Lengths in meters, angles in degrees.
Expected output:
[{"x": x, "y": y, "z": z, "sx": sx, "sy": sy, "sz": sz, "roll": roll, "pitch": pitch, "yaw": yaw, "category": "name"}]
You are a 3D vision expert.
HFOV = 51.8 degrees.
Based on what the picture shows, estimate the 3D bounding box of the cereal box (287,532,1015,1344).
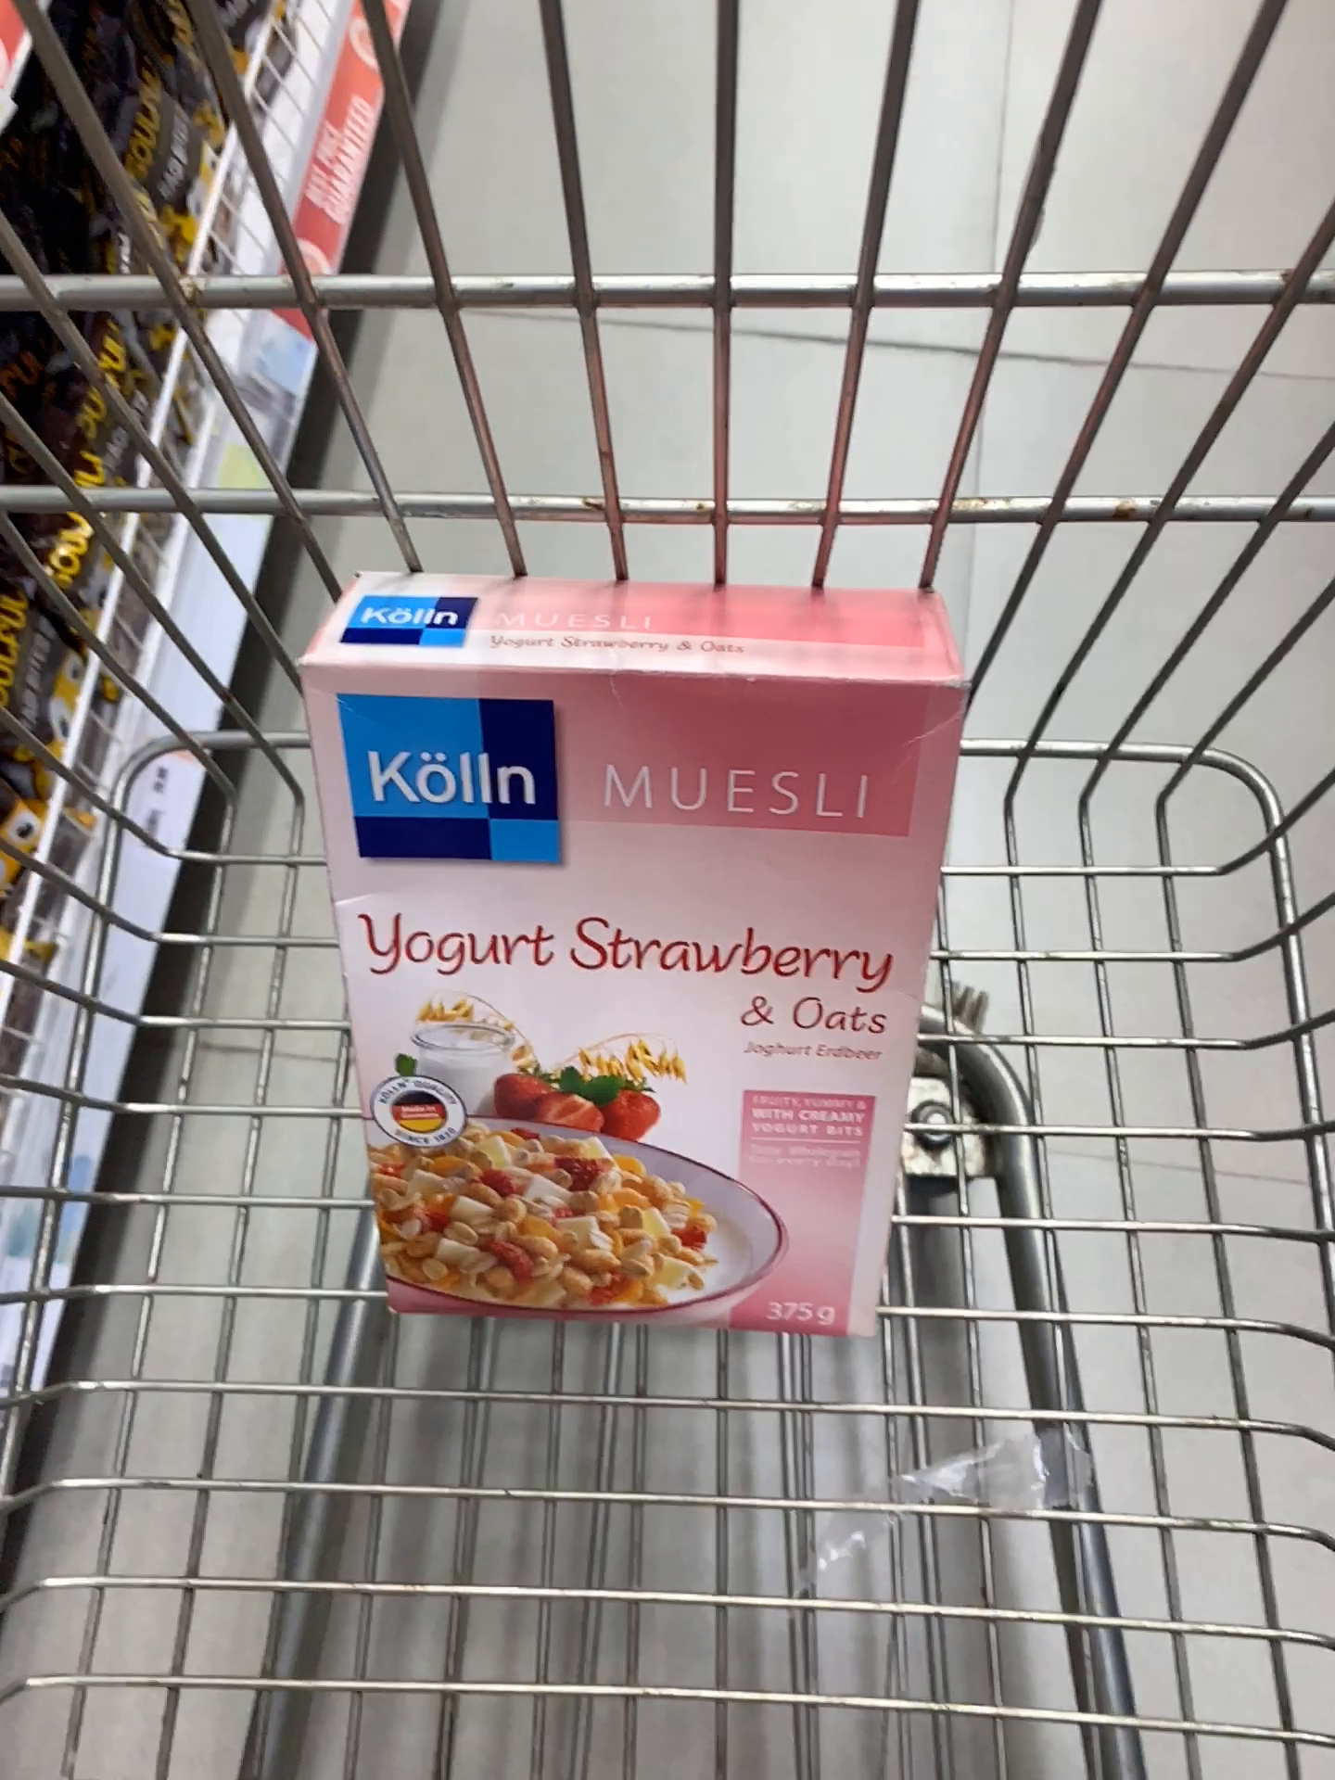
[{"x": -0.004, "y": 0.023, "z": 0.364, "sx": 0.150, "sy": 0.220, "sz": 0.050, "roll": 2, "pitch": 33, "yaw": 2, "category": "cereal box"}]
